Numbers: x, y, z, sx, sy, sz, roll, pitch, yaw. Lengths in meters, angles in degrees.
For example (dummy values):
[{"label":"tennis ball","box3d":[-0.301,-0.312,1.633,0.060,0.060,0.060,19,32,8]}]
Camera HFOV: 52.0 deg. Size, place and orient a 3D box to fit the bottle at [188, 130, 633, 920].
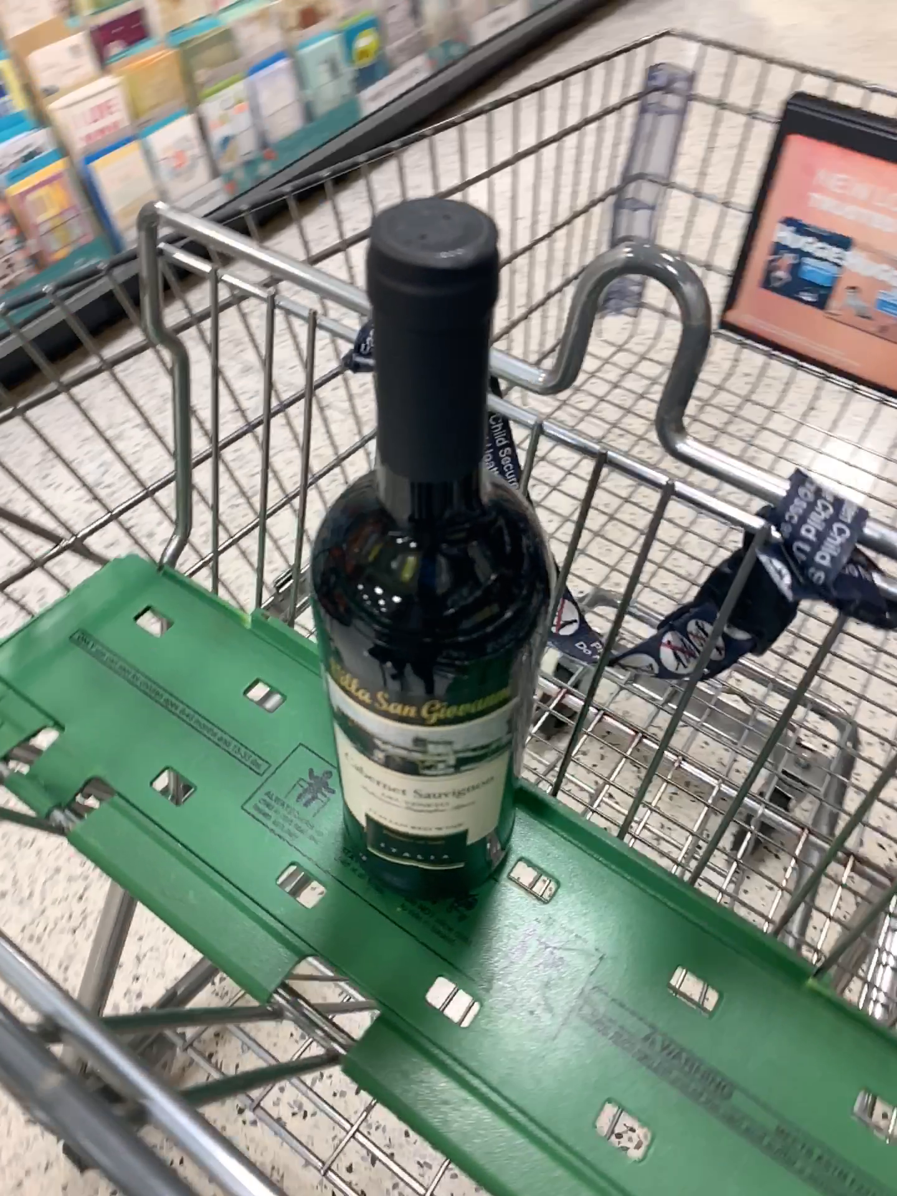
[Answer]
[{"label":"bottle","box3d":[-0.006,0.010,0.300,0.080,0.277,0.075,1,51,-1]}]
